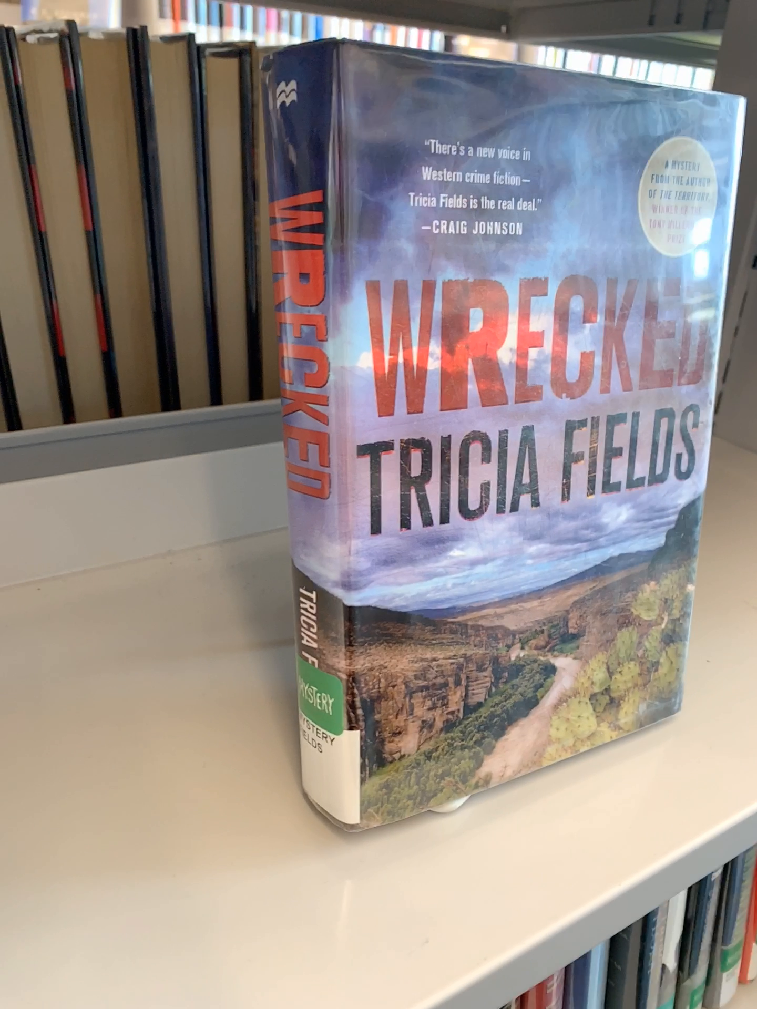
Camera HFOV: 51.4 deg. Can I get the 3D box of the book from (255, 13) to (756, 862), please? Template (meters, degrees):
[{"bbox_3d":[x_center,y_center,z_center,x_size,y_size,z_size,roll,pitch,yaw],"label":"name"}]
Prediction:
[{"bbox_3d":[0.047,-0.017,0.235,0.150,0.203,0.040,-10,19,-27],"label":"book"}]
